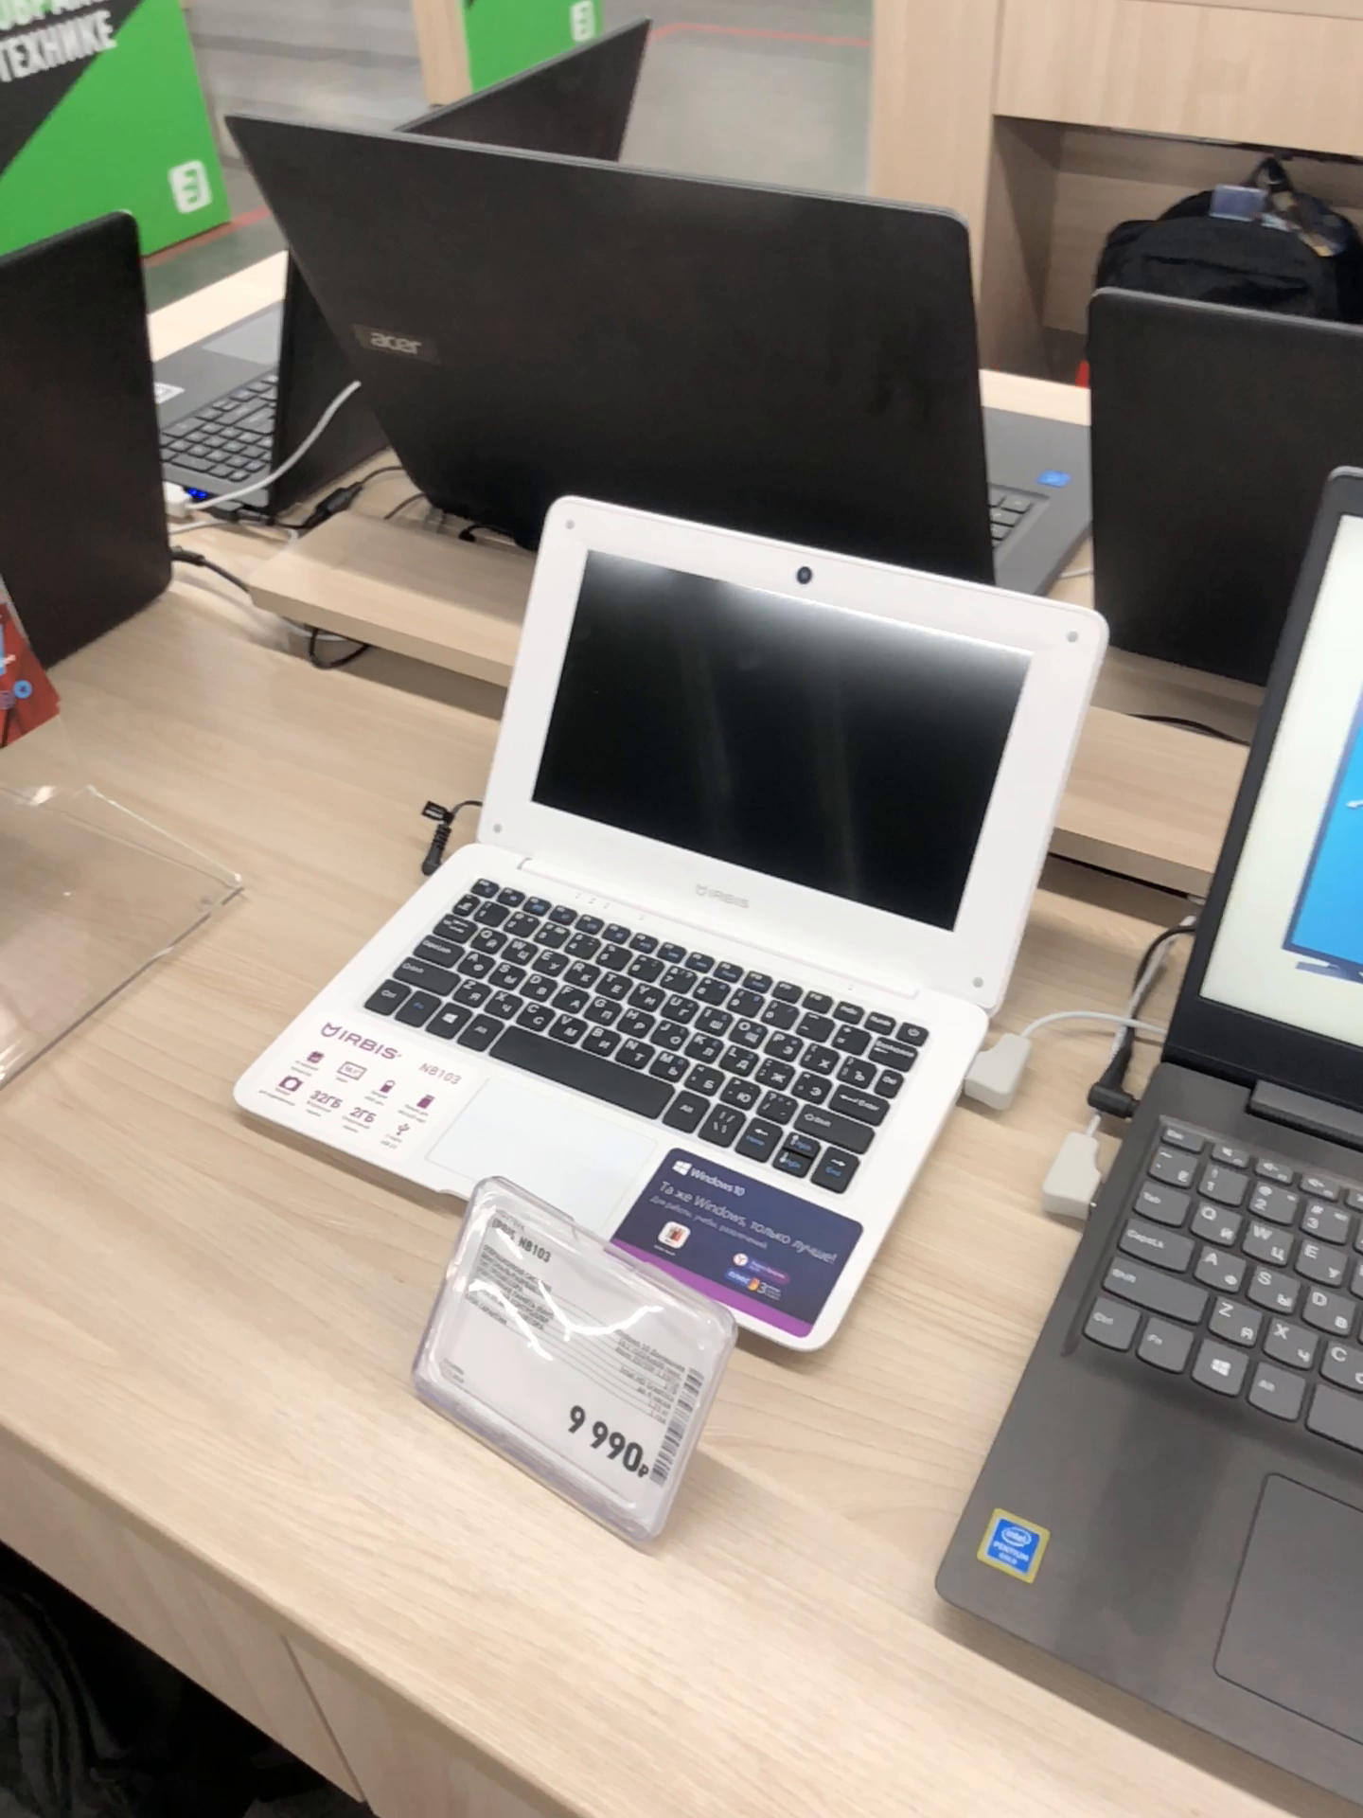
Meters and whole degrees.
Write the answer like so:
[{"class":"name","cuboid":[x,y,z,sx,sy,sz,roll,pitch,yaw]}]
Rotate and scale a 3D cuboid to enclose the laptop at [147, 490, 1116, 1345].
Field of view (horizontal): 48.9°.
[{"class":"laptop","cuboid":[-0.005,-0.028,0.688,0.296,0.144,0.318,18,47,24]}]
